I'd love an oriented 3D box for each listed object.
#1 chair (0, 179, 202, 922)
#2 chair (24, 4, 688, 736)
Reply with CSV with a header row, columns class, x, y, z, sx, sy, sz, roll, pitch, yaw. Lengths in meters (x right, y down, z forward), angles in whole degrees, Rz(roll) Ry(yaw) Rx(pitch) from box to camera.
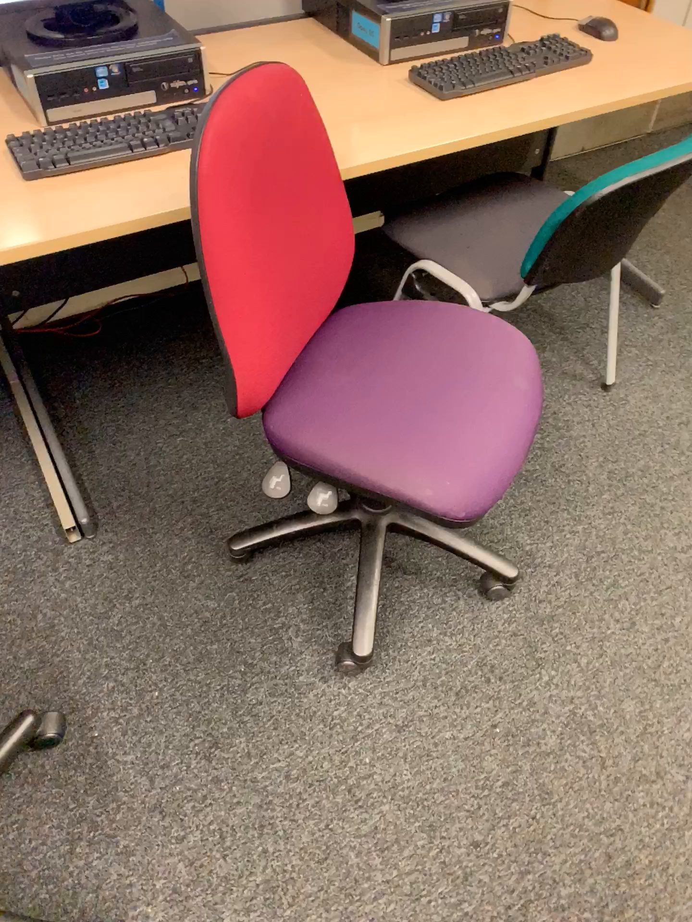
class,x,y,z,sx,sy,sz,roll,pitch,yaw
chair,-0.612,0.314,0.706,0.600,0.829,0.607,-28,54,-24
chair,0.066,-0.138,1.170,0.599,0.869,0.658,18,49,16
